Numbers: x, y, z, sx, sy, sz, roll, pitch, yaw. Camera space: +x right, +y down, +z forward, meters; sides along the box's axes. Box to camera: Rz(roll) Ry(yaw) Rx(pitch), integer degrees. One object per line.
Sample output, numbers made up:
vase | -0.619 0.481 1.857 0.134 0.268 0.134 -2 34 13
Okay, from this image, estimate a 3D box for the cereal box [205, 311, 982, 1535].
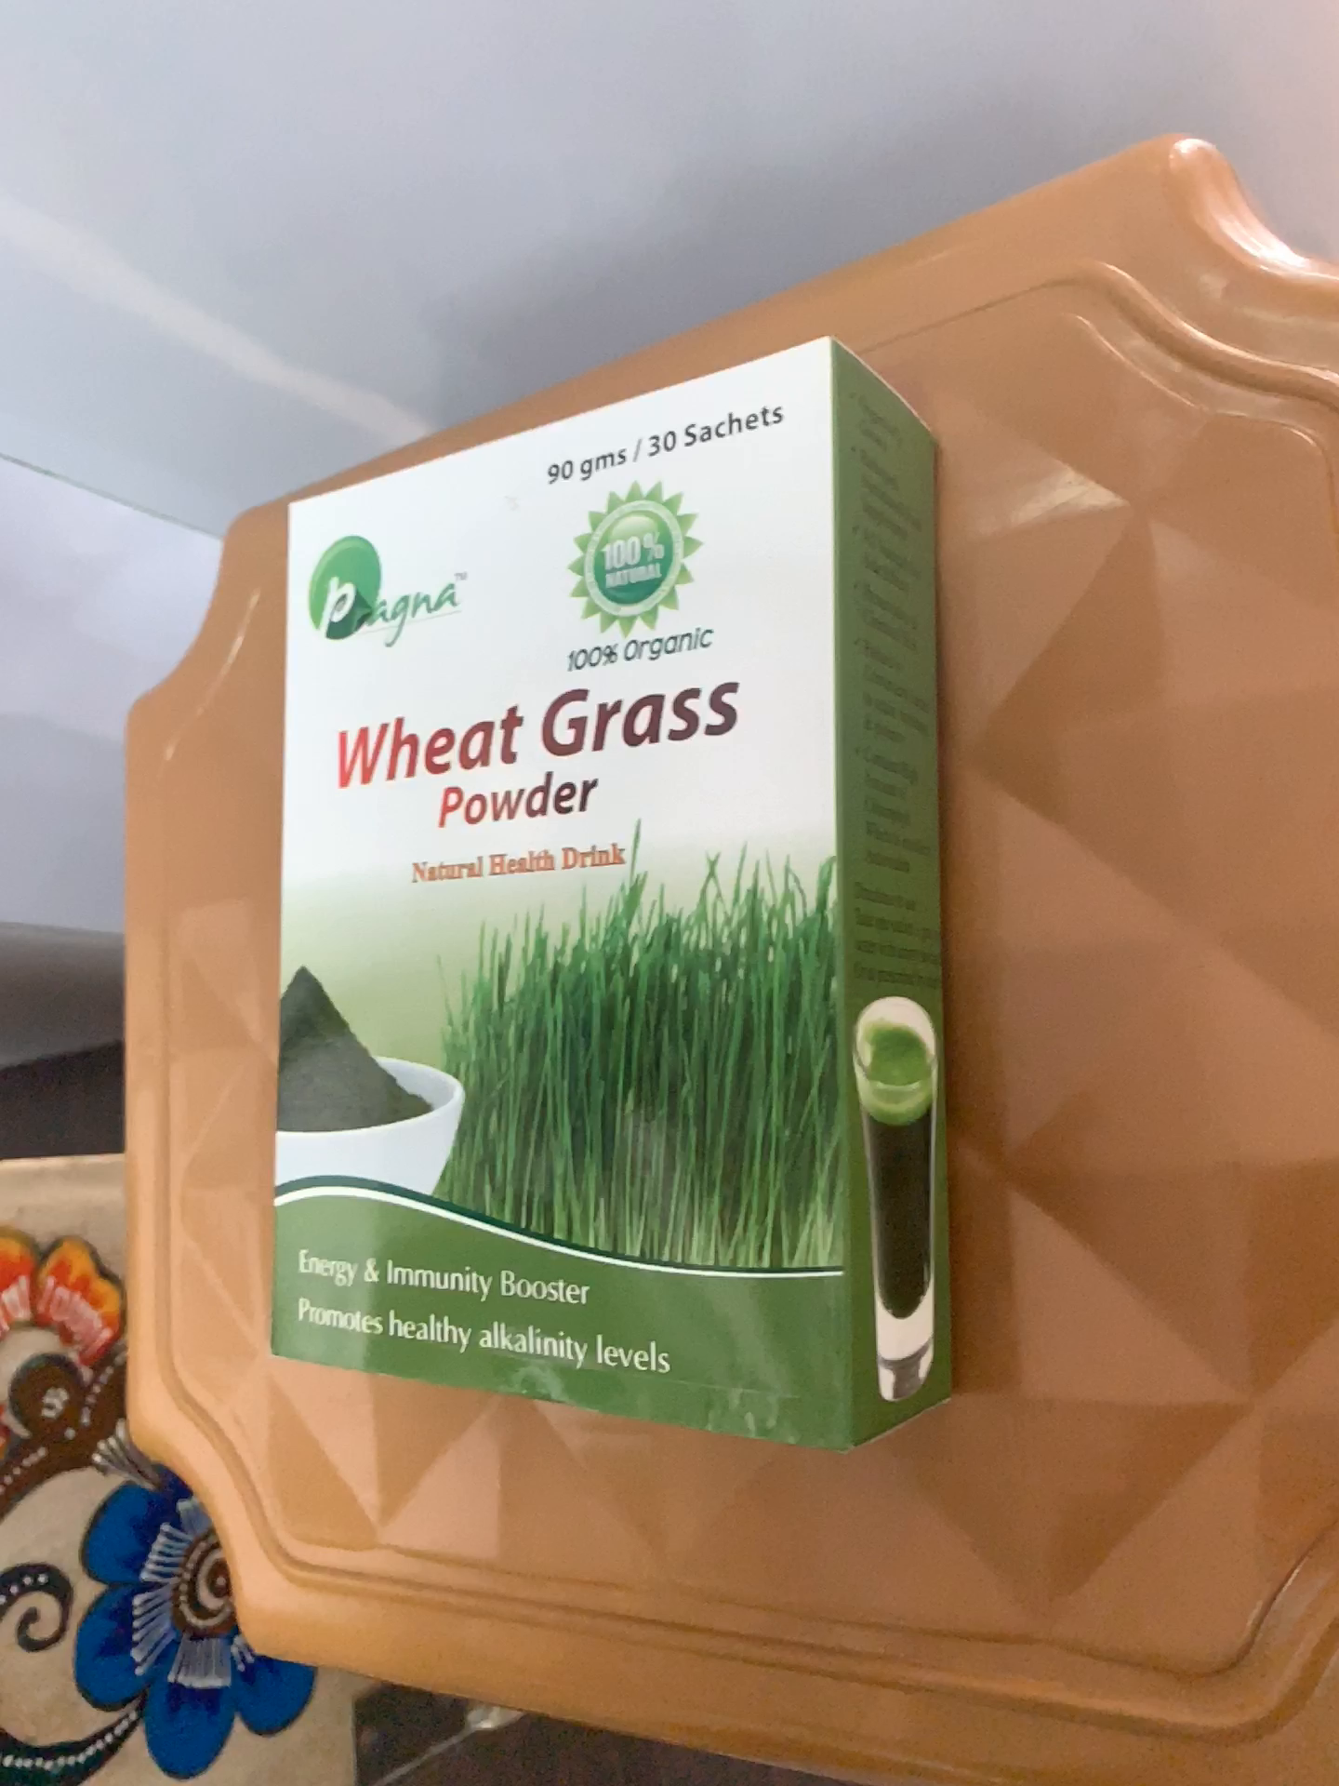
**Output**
cereal box | -0.018 0.007 0.249 0.131 0.050 0.170 -4 83 33
